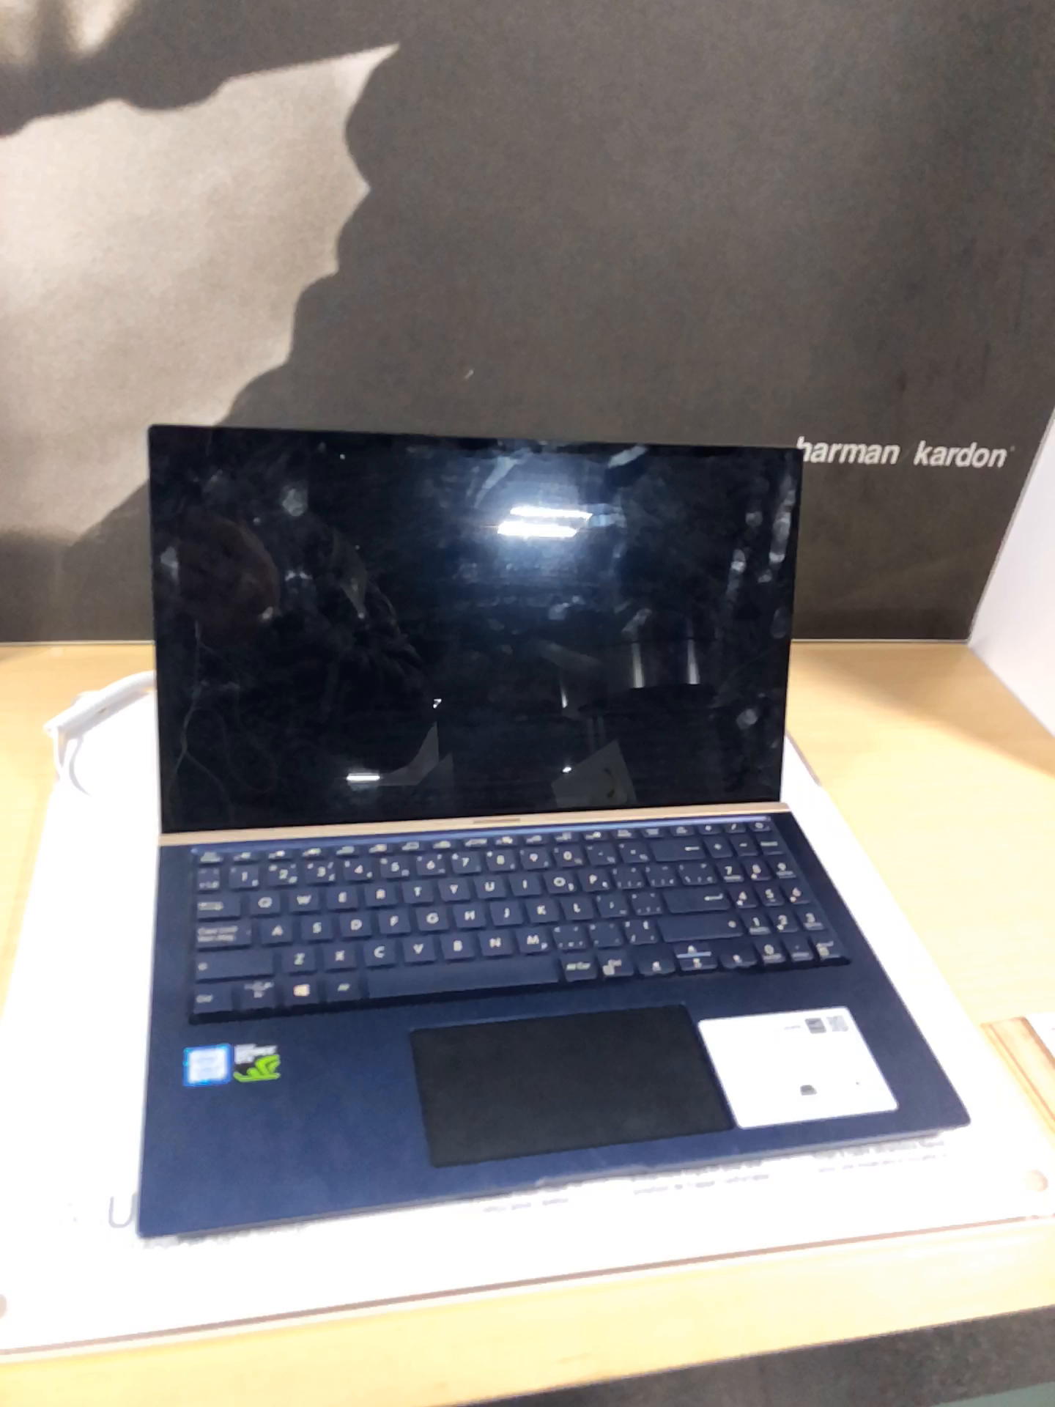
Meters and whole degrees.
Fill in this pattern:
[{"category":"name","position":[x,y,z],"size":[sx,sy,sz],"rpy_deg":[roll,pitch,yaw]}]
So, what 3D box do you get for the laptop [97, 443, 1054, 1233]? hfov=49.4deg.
[{"category":"laptop","position":[0.007,0.026,0.510],"size":[0.331,0.173,0.293],"rpy_deg":[-2,35,-13]}]
